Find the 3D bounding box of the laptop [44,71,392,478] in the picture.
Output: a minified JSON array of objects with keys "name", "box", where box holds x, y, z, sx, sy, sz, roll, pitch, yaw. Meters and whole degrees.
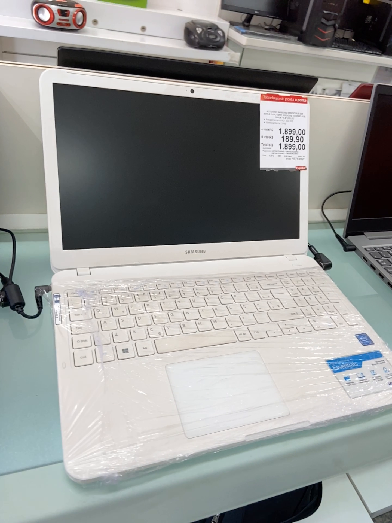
[{"name":"laptop","box":[0.036,-0.038,0.465,0.376,0.192,0.382,-3,41,-21]}]
